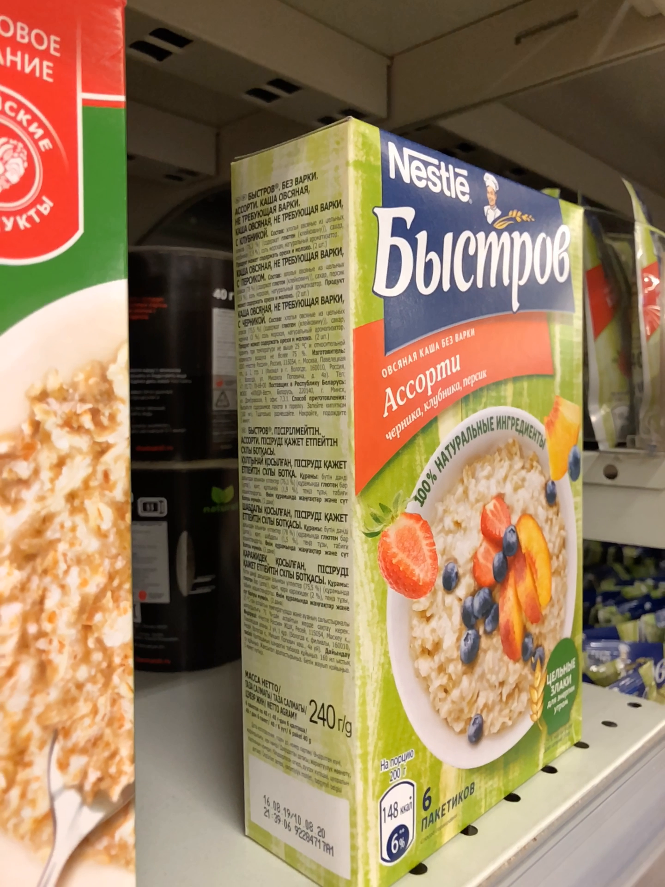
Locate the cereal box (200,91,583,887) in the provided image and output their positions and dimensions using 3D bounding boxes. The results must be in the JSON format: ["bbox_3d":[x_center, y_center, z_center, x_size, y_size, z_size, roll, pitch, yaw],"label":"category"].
[{"bbox_3d":[0.027,0.015,0.239,0.050,0.200,0.130,2,4,43],"label":"cereal box"}]
